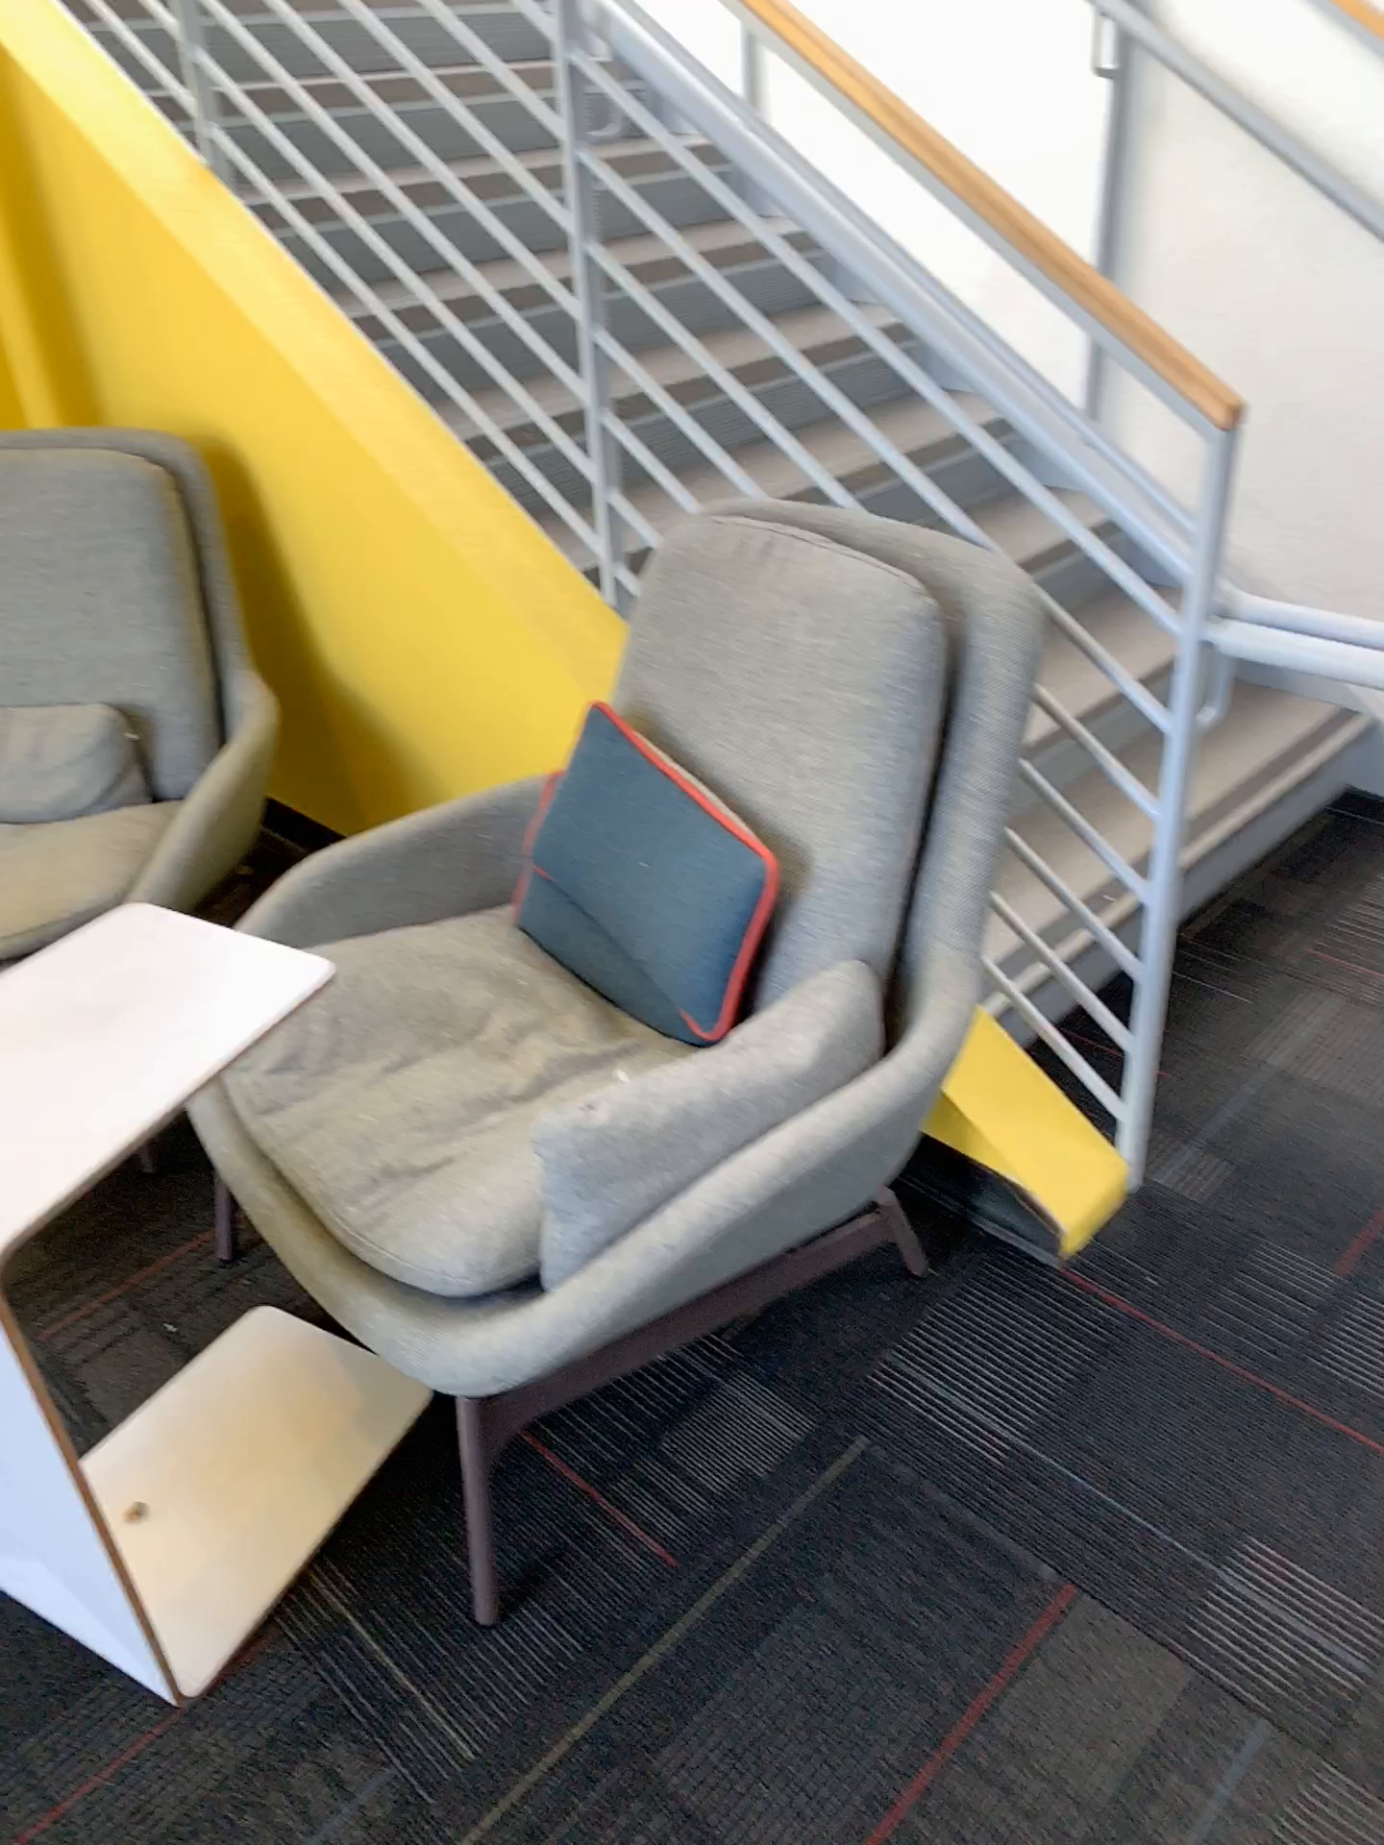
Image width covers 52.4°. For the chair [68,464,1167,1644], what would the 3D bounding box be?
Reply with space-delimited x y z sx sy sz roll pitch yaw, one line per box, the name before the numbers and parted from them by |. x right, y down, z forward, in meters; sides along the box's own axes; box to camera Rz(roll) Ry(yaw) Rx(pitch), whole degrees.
chair | -0.111 0.037 1.768 0.880 0.944 0.875 -19 33 -29

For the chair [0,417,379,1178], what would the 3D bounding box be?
chair | -1.171 -0.242 2.434 0.890 1.014 0.845 -2 28 5
